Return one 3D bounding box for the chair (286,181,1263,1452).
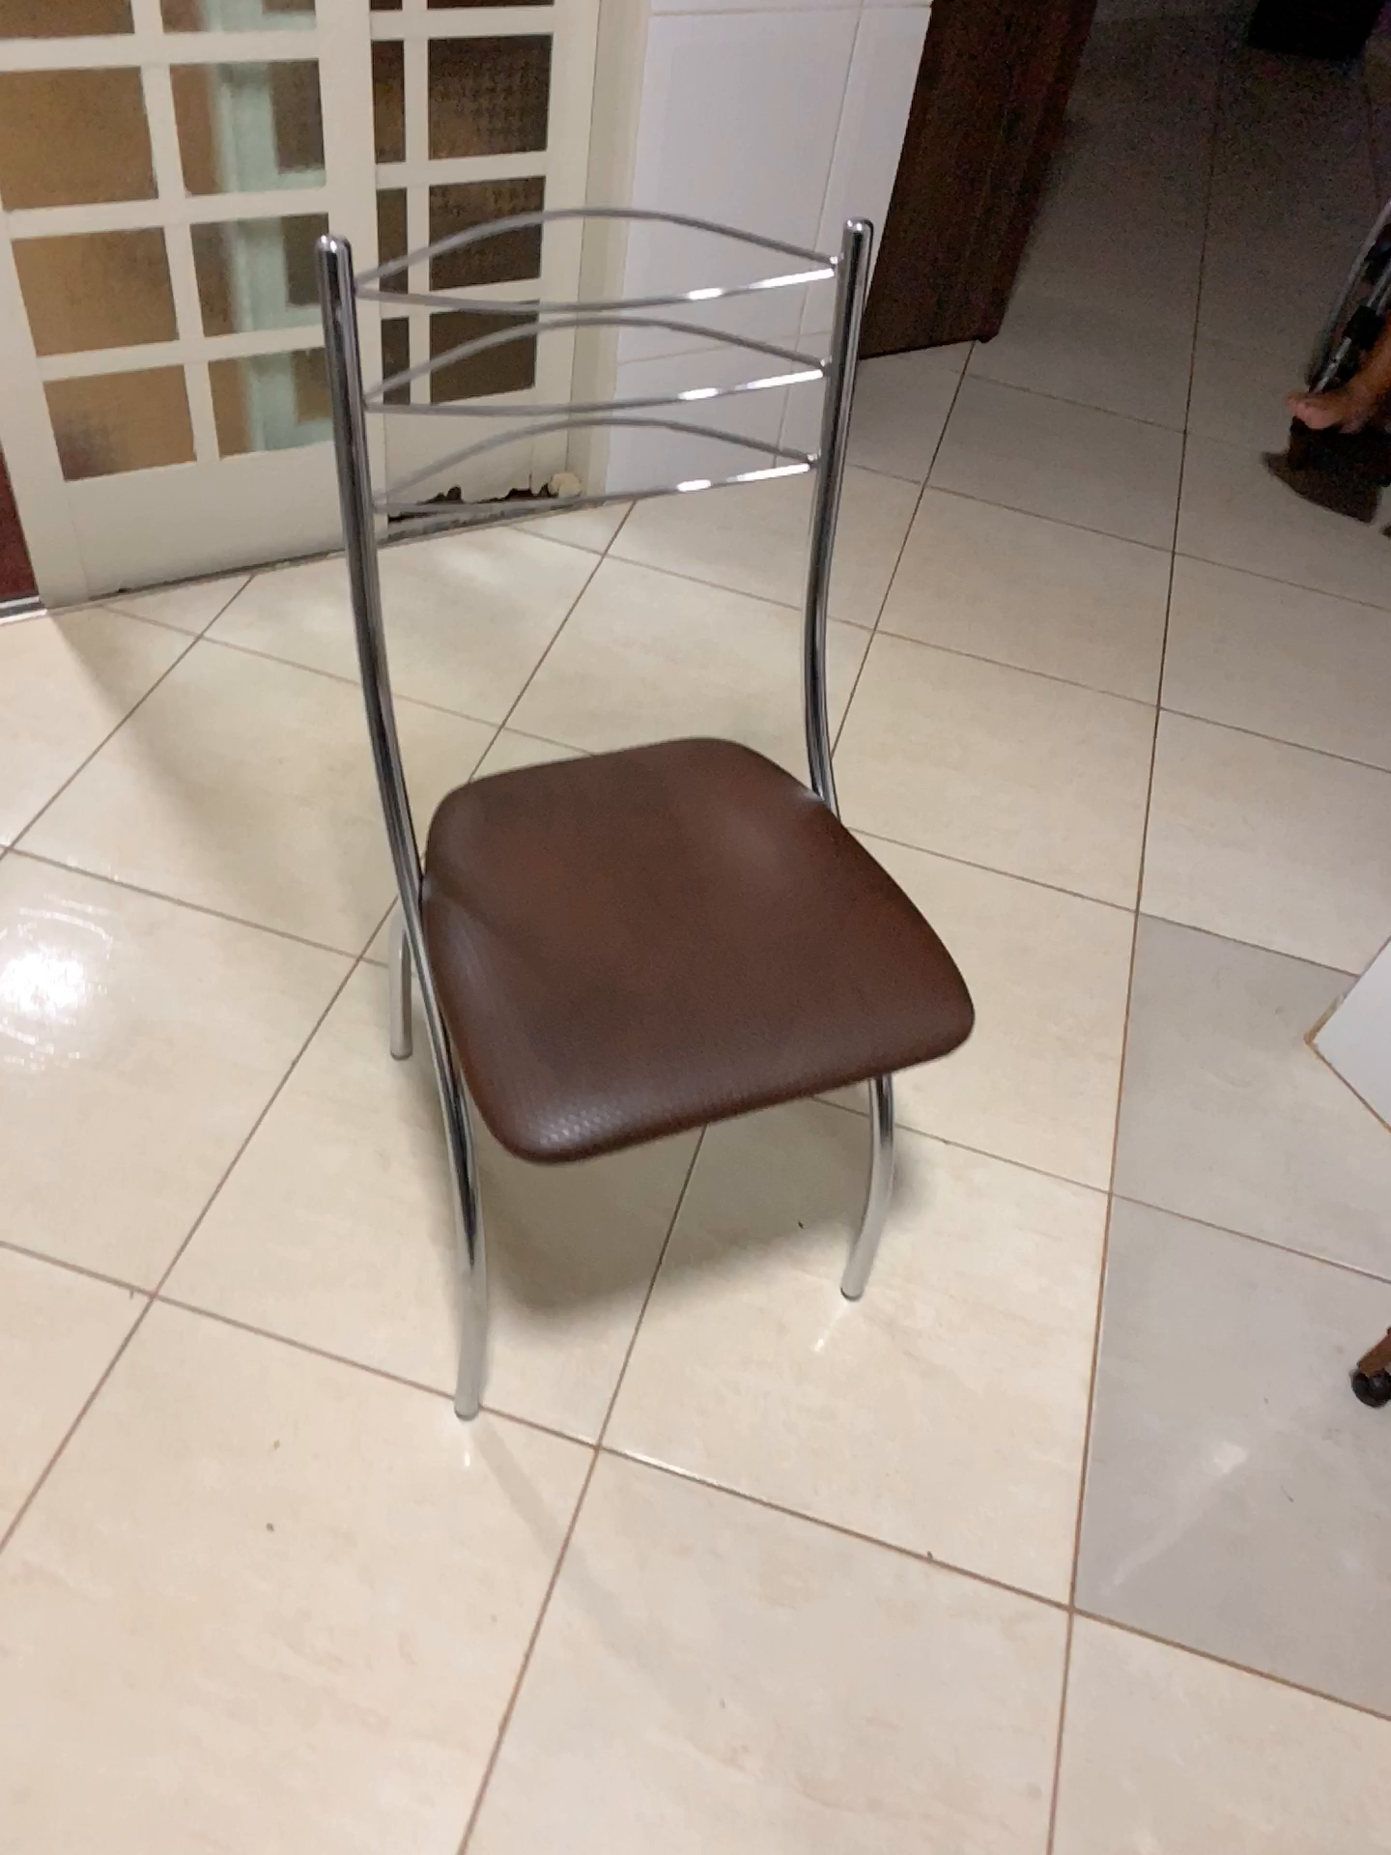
[{"bbox_3d":[-0.037,-0.041,1.139,0.419,0.871,0.486,-11,51,-19],"label":"chair"}]
